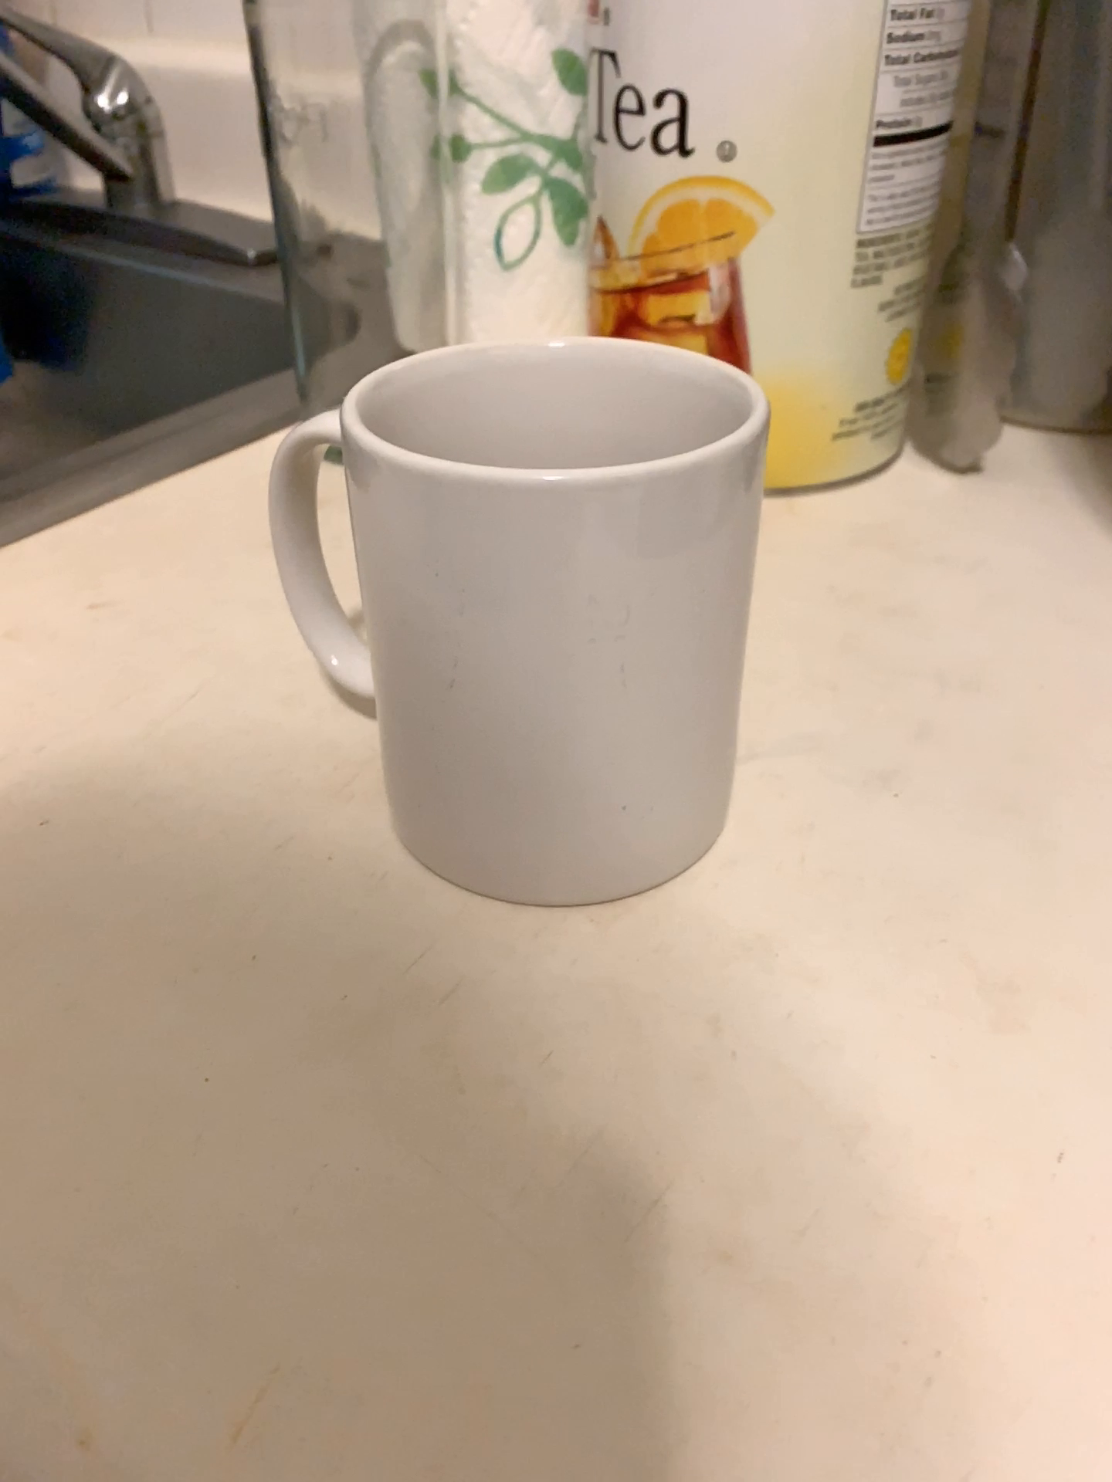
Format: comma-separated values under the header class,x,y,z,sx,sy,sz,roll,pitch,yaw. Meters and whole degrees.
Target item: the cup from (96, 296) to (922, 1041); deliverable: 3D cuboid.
class,x,y,z,sx,sy,sz,roll,pitch,yaw
cup,-0.007,-0.025,0.264,0.140,0.109,0.090,17,38,22
